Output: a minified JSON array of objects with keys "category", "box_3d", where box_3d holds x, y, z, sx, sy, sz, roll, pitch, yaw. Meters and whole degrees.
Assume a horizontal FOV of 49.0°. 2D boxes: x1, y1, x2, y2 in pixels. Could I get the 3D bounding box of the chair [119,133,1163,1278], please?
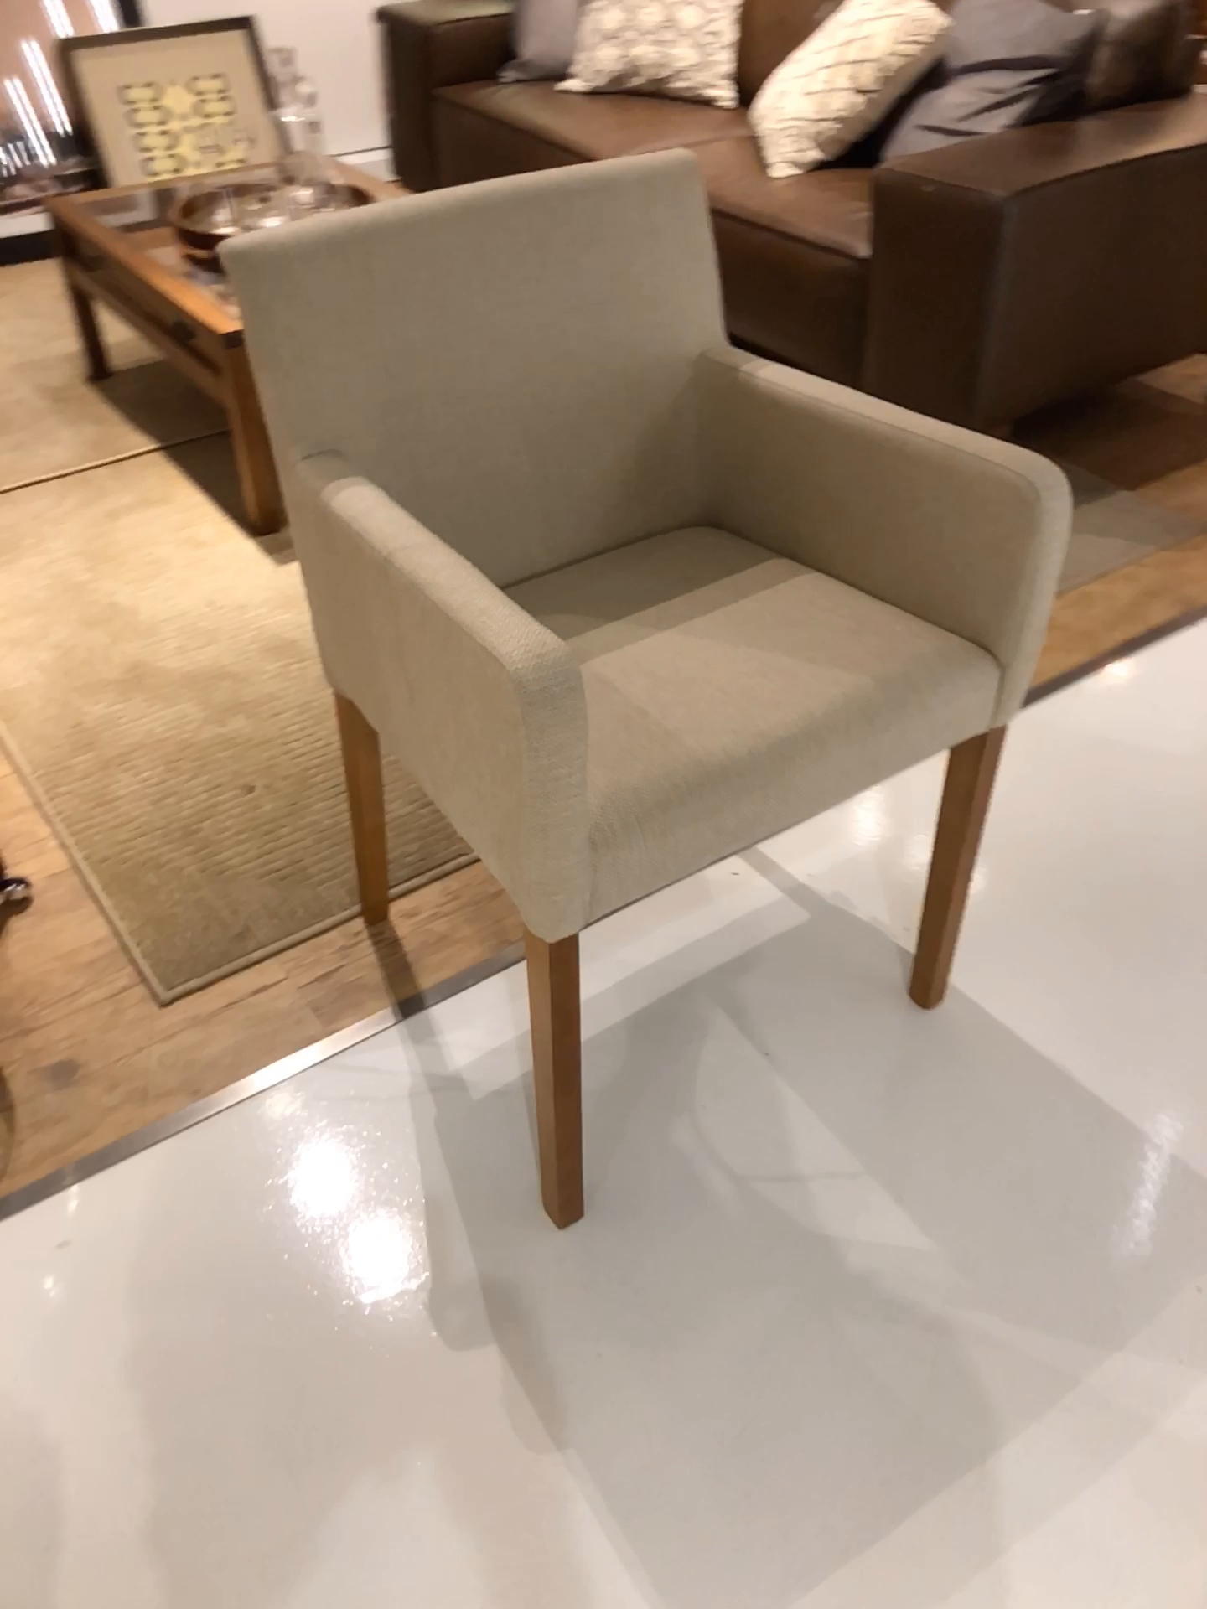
[{"category":"chair","box_3d":[0.006,-0.136,1.324,0.602,0.794,0.623,-23,44,-26]}]
